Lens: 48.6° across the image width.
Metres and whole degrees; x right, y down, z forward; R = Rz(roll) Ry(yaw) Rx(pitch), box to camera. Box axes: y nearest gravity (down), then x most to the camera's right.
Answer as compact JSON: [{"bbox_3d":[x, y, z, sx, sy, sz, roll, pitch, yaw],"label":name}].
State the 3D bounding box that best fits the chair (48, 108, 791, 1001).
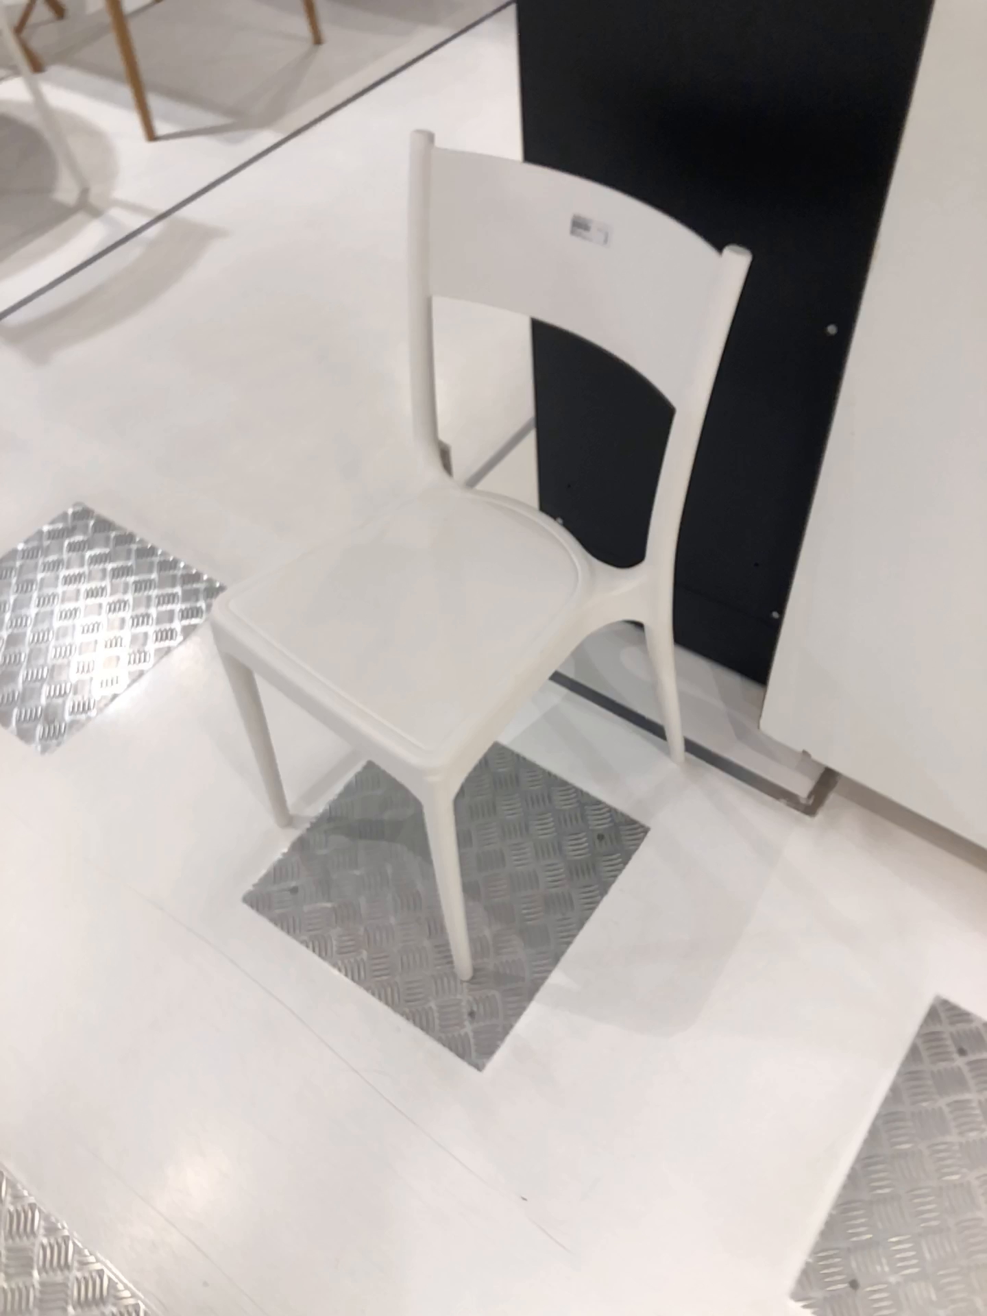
[{"bbox_3d":[-0.036,-0.077,1.214,0.411,0.765,0.482,32,59,26],"label":"chair"}]
